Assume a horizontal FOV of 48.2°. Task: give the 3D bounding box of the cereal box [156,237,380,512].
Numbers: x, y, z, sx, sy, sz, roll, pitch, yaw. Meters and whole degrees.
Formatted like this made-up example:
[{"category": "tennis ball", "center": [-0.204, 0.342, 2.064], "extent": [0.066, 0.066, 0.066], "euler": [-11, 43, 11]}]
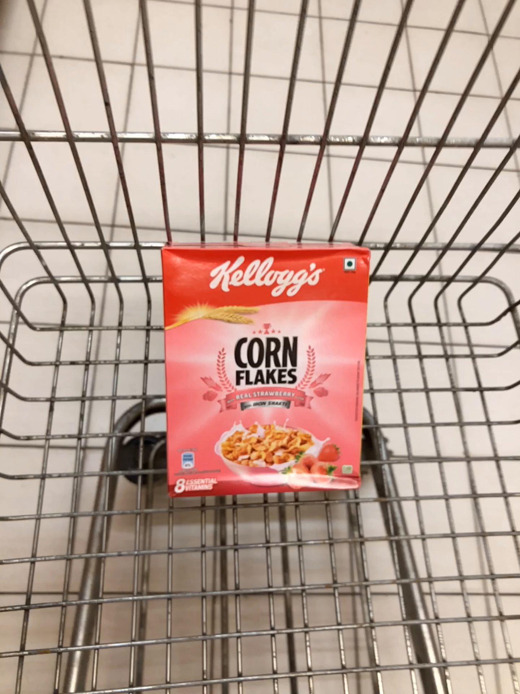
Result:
[{"category": "cereal box", "center": [0.002, 0.016, 0.403], "extent": [0.140, 0.050, 0.180], "euler": [-1, 103, -7]}]
